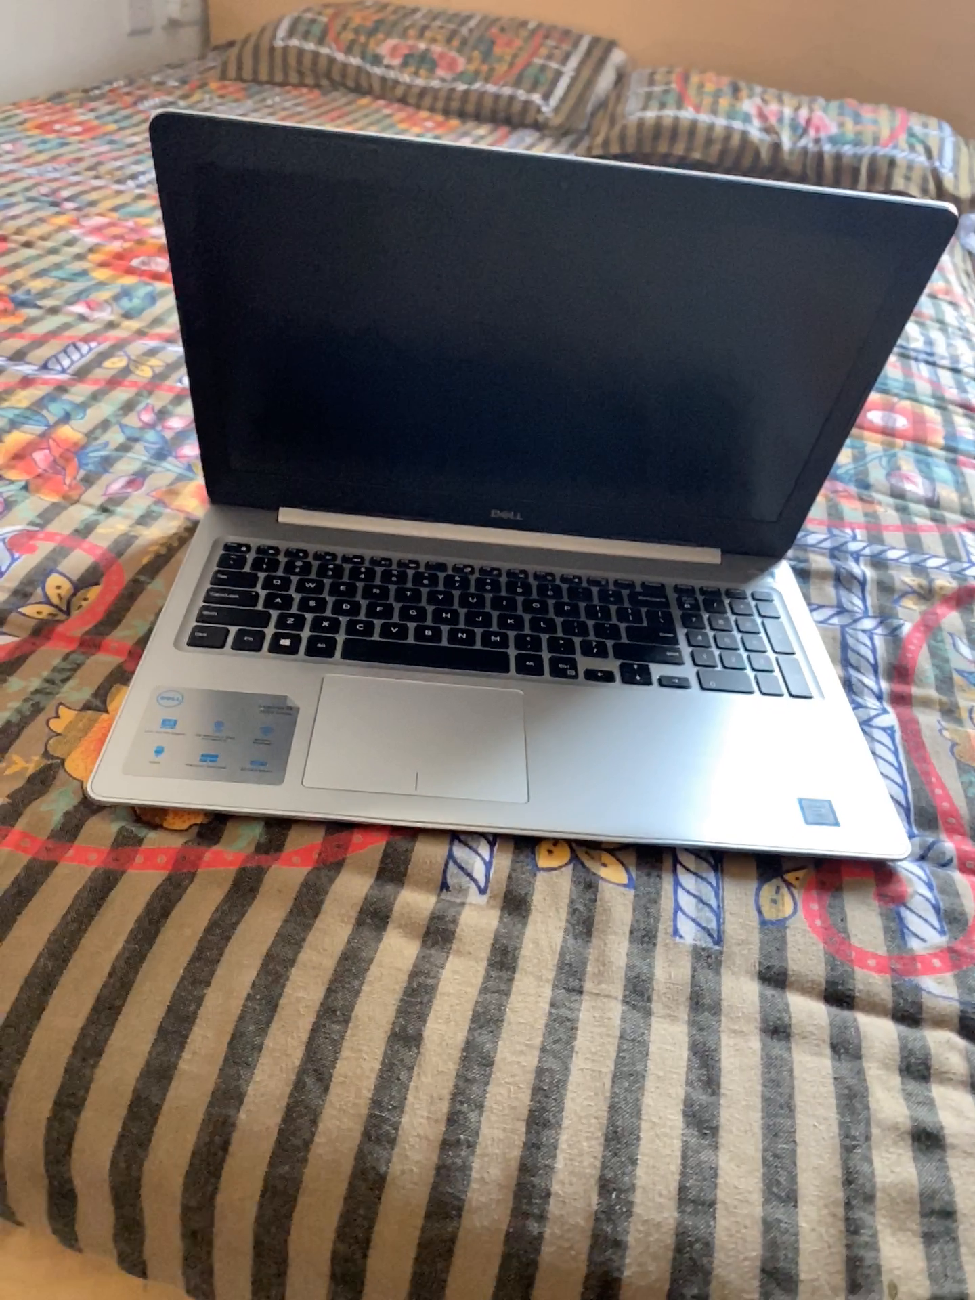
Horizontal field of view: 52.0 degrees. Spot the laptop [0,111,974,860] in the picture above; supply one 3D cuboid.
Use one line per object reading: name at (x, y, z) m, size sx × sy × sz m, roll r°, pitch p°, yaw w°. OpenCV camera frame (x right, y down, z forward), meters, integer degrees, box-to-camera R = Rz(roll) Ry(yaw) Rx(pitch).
laptop at (0.021, -0.077, 0.467) m, size 0.373 × 0.231 × 0.211 m, roll 5°, pitch 39°, yaw -3°
